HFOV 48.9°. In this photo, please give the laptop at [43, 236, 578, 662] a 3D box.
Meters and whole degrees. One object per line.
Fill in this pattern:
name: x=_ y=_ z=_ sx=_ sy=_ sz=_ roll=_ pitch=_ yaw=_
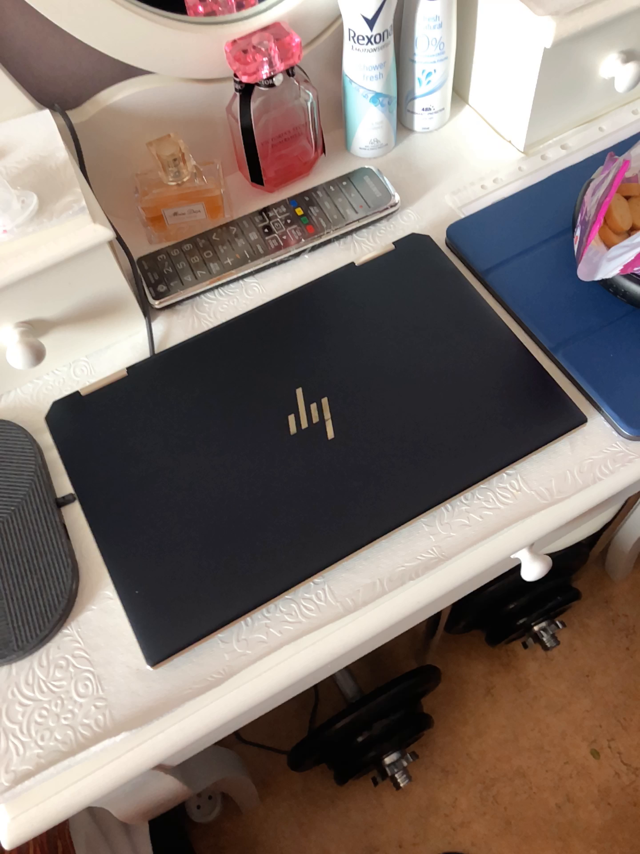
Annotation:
laptop: x=-0.003 y=-0.007 z=0.410 sx=0.267 sy=0.007 sz=0.161 roll=-27 pitch=66 yaw=-17
